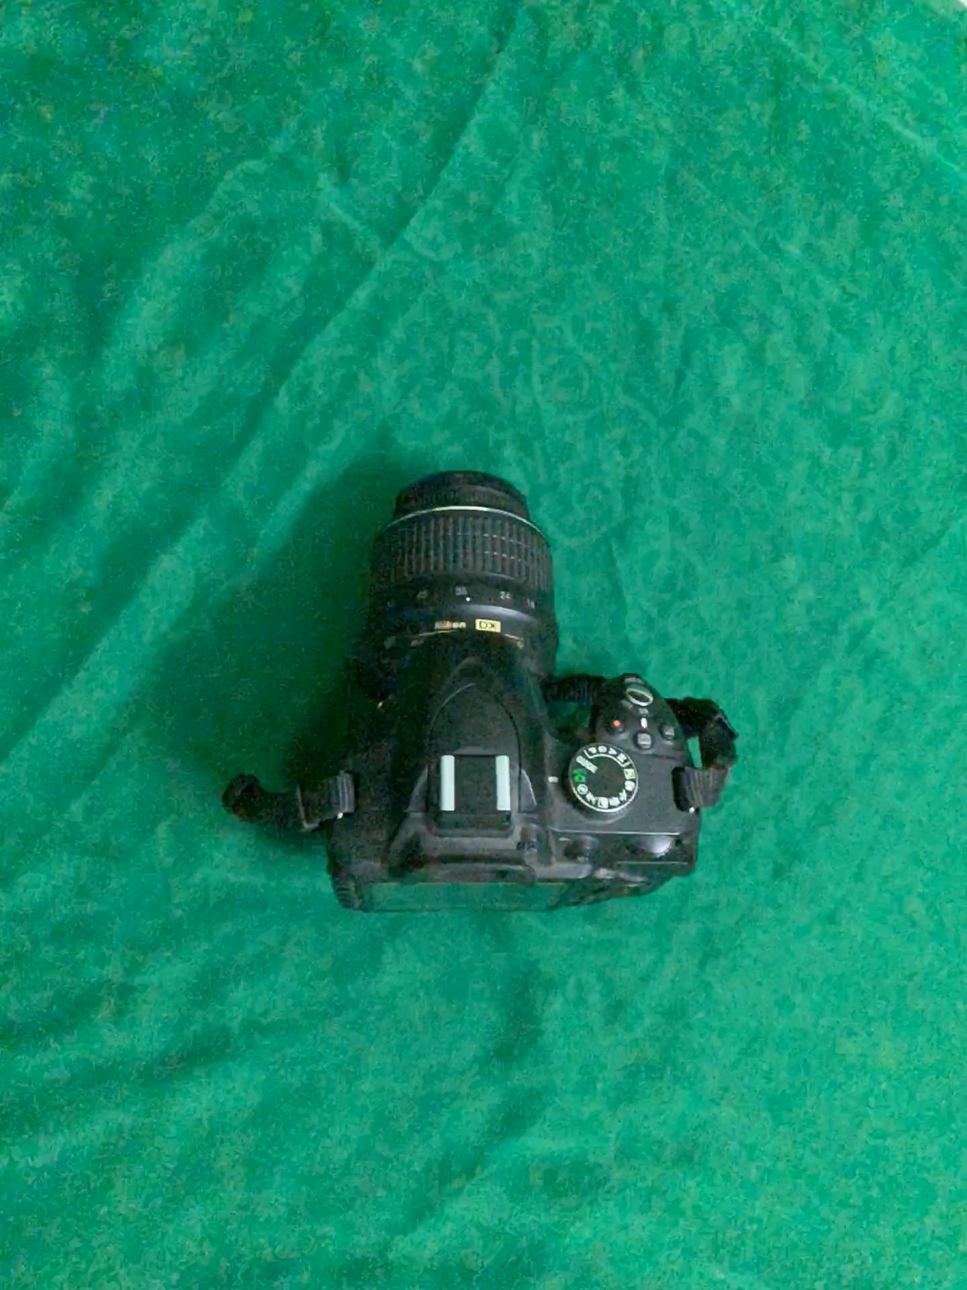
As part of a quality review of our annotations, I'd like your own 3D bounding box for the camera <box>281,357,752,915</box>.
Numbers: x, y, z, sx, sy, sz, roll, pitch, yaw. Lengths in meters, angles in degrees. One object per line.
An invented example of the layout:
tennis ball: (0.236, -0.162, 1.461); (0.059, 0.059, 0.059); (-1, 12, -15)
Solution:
camera: (0.002, 0.004, 0.350); (0.133, 0.100, 0.166); (2, 70, -9)
